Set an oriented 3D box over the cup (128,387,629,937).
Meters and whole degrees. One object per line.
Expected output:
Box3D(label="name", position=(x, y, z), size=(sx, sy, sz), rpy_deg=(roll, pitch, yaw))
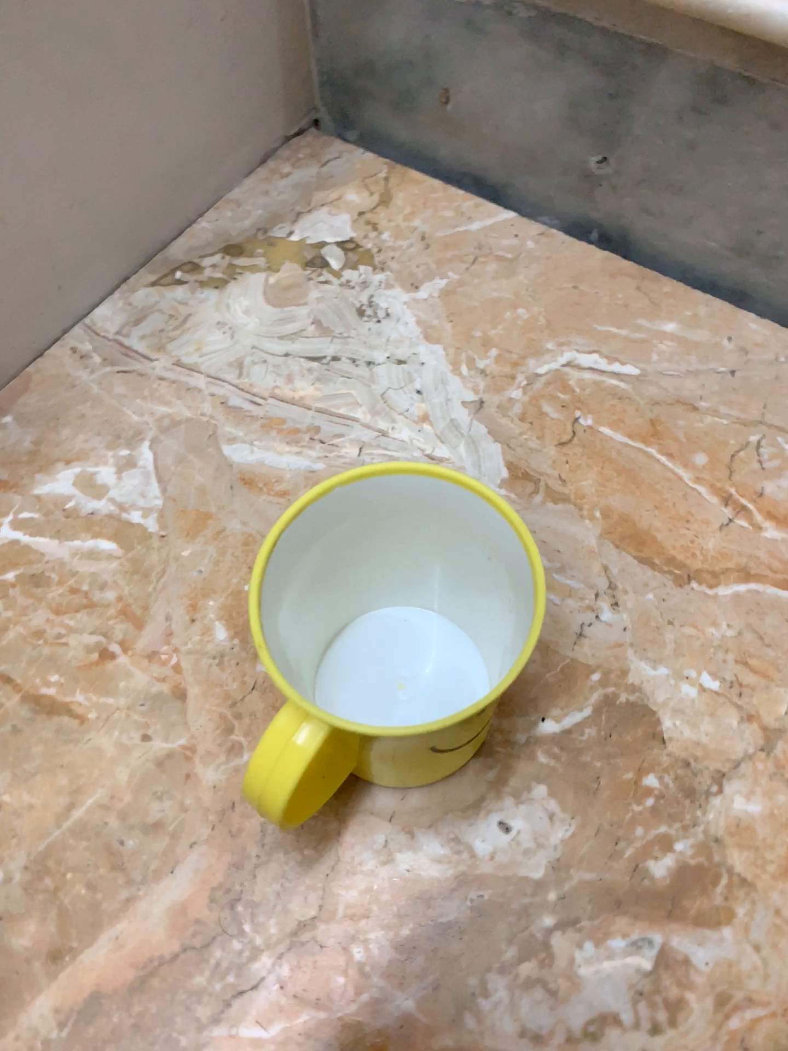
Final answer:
Box3D(label="cup", position=(0.001, 0.041, 0.232), size=(0.070, 0.089, 0.110), rpy_deg=(28, 65, 16))
